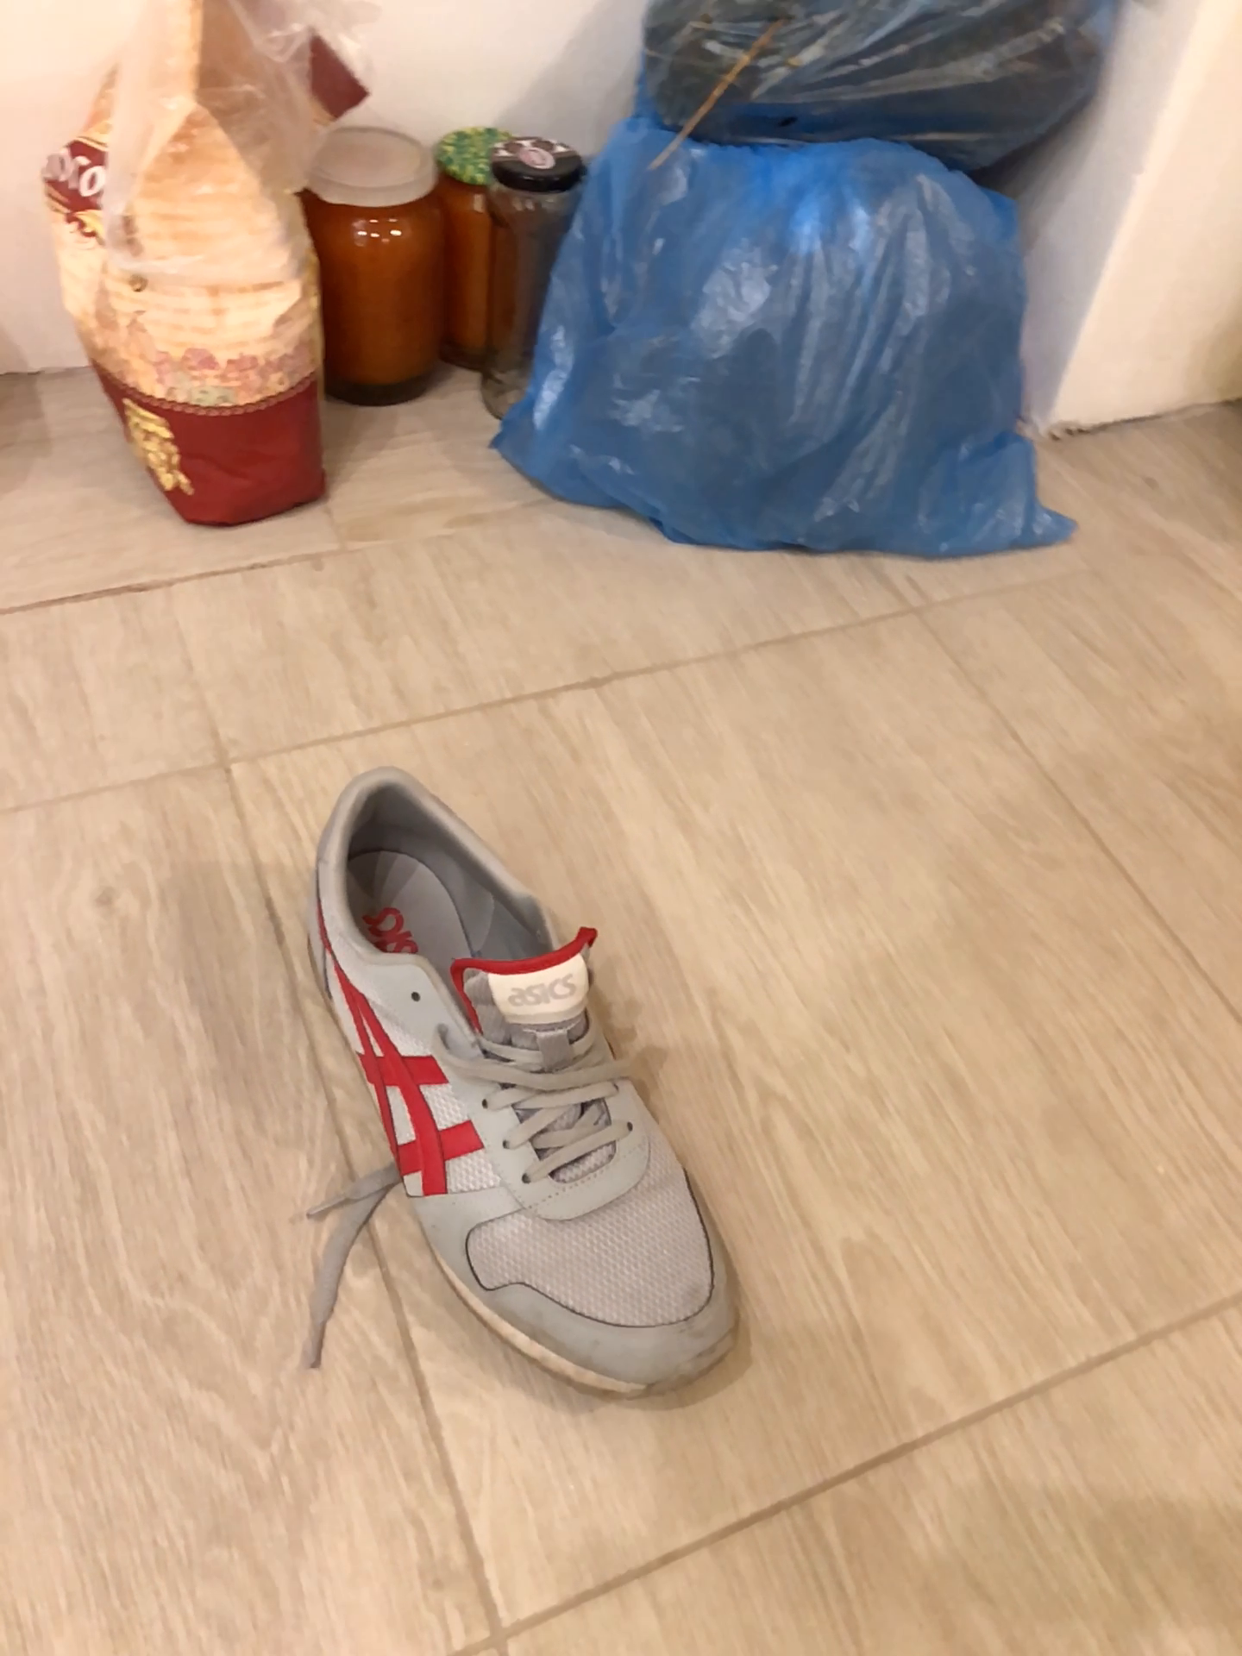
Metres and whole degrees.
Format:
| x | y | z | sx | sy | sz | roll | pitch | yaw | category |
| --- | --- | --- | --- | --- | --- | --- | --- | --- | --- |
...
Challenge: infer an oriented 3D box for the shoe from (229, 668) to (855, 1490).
| x | y | z | sx | sy | sz | roll | pitch | yaw | category |
| --- | --- | --- | --- | --- | --- | --- | --- | --- | --- |
| -0.049 | 0.090 | 0.570 | 0.110 | 0.129 | 0.299 | -21 | 56 | -23 | shoe |
